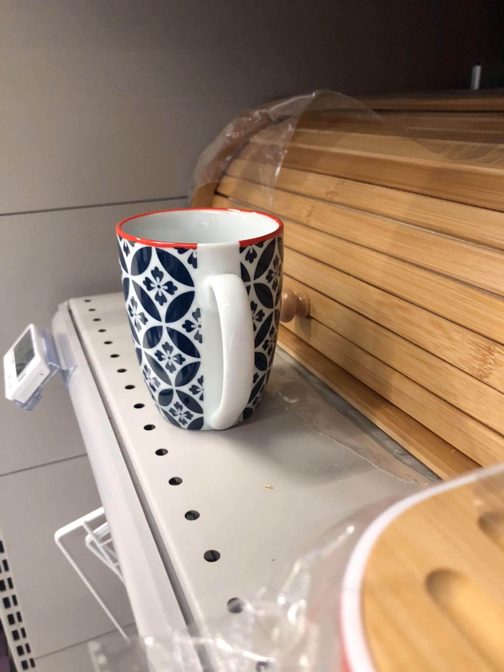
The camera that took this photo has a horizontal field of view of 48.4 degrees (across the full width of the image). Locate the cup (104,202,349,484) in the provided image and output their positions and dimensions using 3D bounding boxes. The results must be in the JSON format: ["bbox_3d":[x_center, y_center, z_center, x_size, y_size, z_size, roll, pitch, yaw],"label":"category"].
[{"bbox_3d":[-0.018,-0.008,0.275,0.080,0.090,0.113,-10,24,-19],"label":"cup"}]
